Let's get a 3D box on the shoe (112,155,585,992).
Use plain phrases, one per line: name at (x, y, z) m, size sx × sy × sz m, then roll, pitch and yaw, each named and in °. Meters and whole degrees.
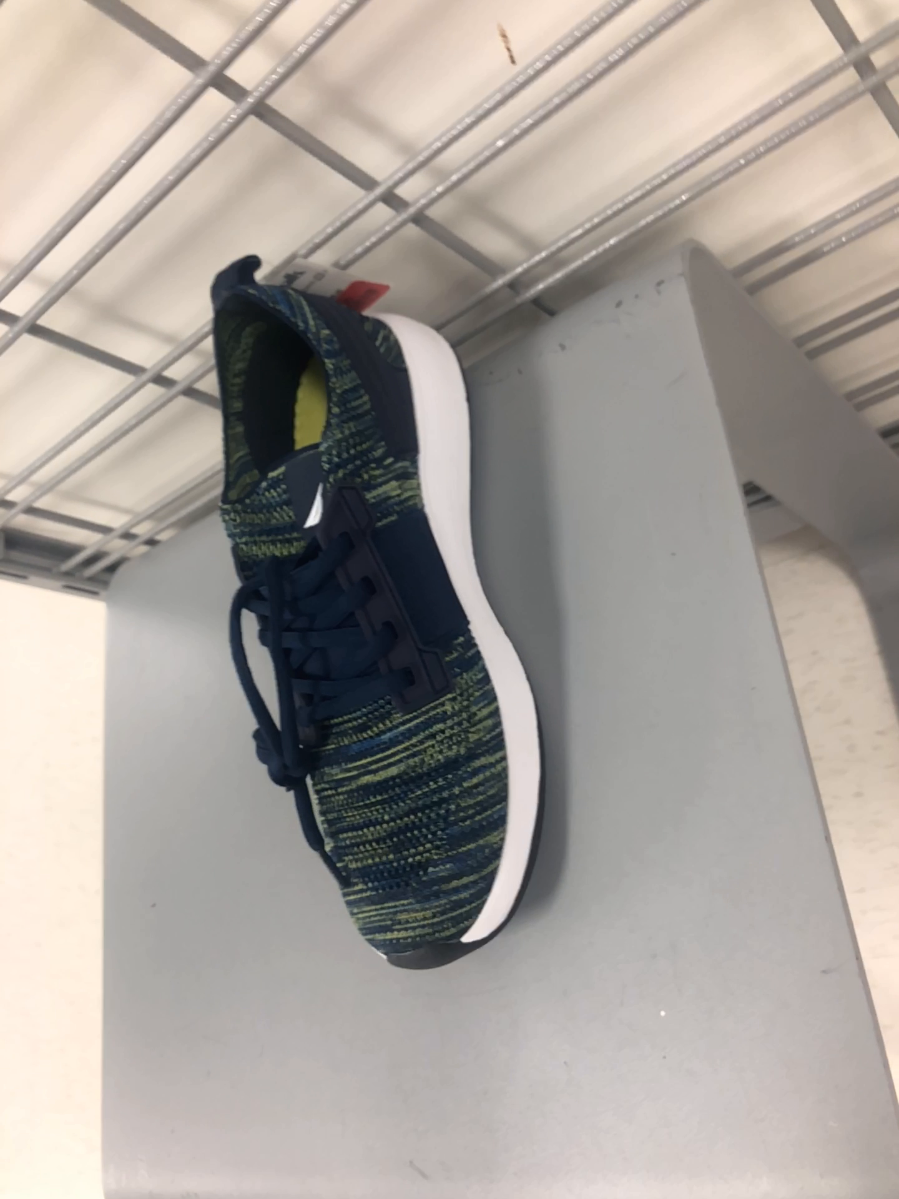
shoe at (-0.049, -0.006, 0.387) m, size 0.113 × 0.105 × 0.276 m, roll -24°, pitch 64°, yaw 34°
